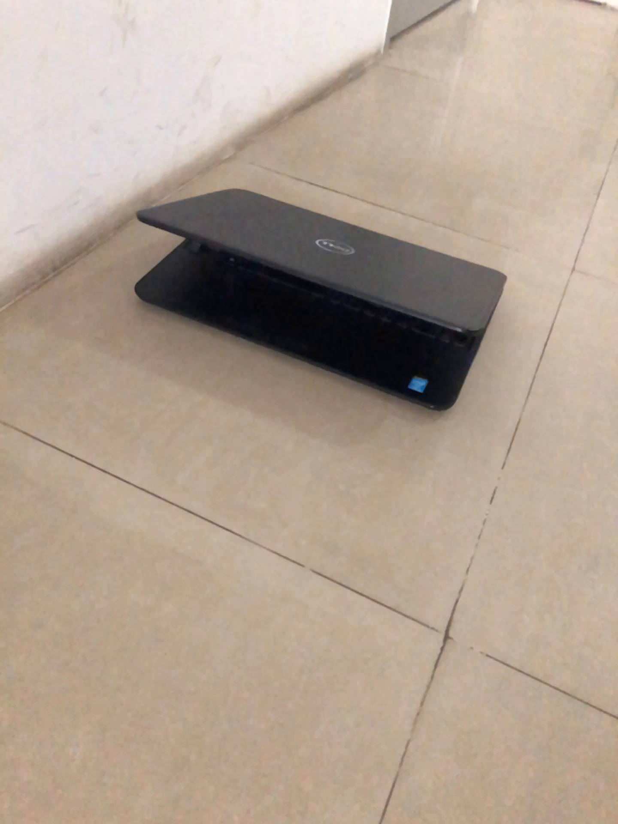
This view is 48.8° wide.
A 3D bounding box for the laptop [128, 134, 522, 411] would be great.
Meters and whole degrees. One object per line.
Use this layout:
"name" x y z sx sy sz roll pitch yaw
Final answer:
"laptop" 0.026 -0.173 0.753 0.357 0.078 0.249 22 47 11
